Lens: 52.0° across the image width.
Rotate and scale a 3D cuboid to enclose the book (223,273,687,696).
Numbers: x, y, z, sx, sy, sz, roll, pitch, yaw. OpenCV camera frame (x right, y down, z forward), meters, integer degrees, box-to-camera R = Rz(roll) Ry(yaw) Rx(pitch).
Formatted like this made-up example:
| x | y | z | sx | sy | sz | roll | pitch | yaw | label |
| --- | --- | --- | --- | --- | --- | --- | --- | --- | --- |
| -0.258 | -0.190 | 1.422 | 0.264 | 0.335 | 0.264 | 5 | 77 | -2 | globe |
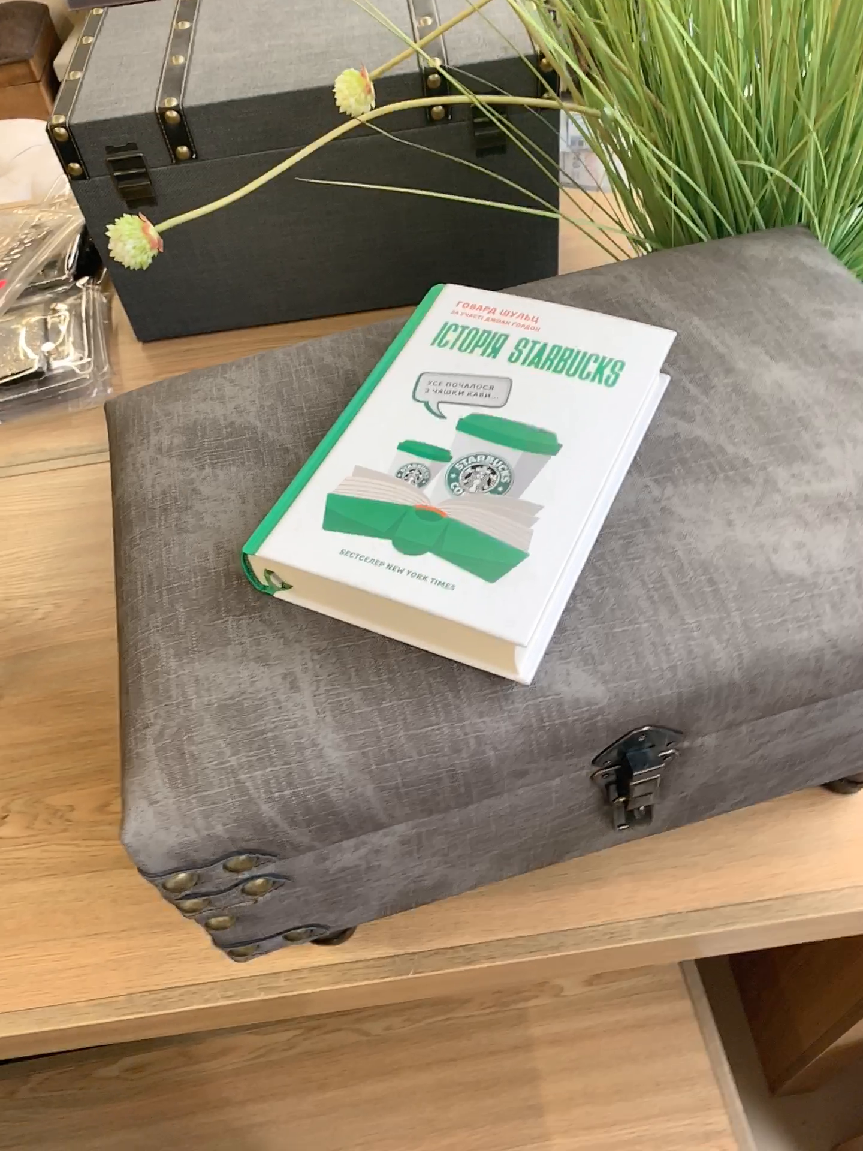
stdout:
| x | y | z | sx | sy | sz | roll | pitch | yaw | label |
| --- | --- | --- | --- | --- | --- | --- | --- | --- | --- |
| 0.023 | -0.067 | 0.476 | 0.160 | 0.040 | 0.235 | 18 | 56 | 19 | book |
